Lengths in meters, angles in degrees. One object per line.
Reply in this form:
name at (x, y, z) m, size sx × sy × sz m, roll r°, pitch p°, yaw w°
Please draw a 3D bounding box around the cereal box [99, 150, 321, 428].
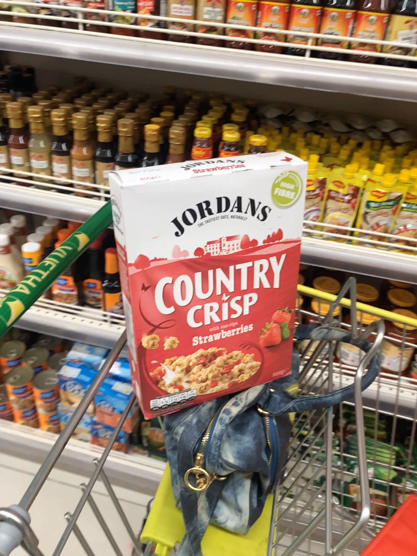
cereal box at (0.002, 0.010, 0.469) m, size 0.190 × 0.249 × 0.060 m, roll -11°, pitch 30°, yaw -22°
